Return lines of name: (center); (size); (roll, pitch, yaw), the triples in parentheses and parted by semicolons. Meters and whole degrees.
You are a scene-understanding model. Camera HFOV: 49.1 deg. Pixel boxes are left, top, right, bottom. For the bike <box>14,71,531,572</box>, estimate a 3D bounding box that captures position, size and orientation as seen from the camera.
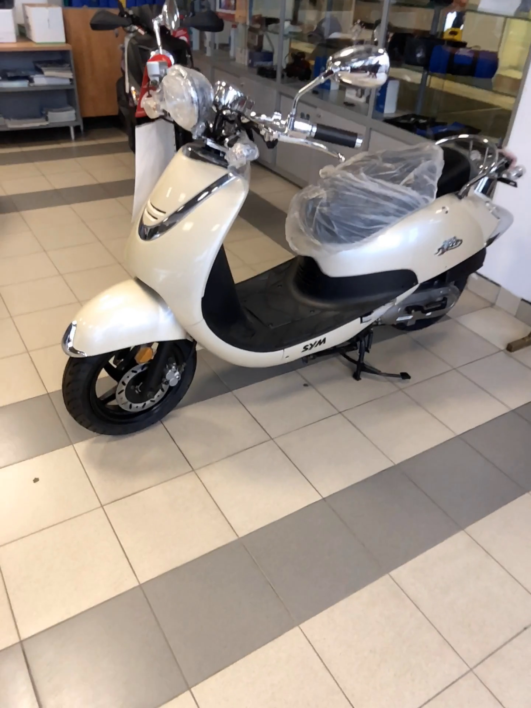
bike: (0.174, -0.272, 1.954); (1.684, 0.963, 0.808); (-18, 39, -25)
